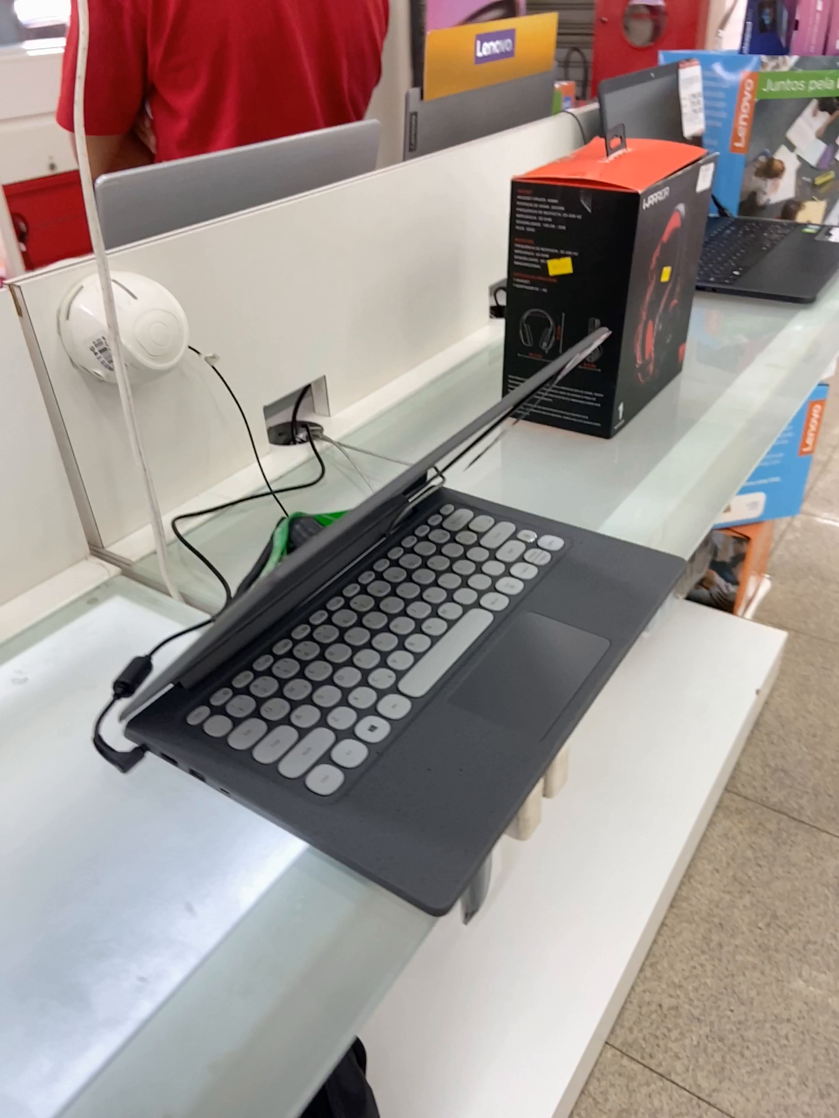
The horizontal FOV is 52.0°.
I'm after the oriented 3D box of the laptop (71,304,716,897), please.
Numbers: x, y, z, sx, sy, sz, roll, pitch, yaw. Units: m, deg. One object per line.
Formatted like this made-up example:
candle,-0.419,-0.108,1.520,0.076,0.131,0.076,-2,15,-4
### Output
laptop,0.010,-0.015,0.506,0.208,0.153,0.313,19,39,29
